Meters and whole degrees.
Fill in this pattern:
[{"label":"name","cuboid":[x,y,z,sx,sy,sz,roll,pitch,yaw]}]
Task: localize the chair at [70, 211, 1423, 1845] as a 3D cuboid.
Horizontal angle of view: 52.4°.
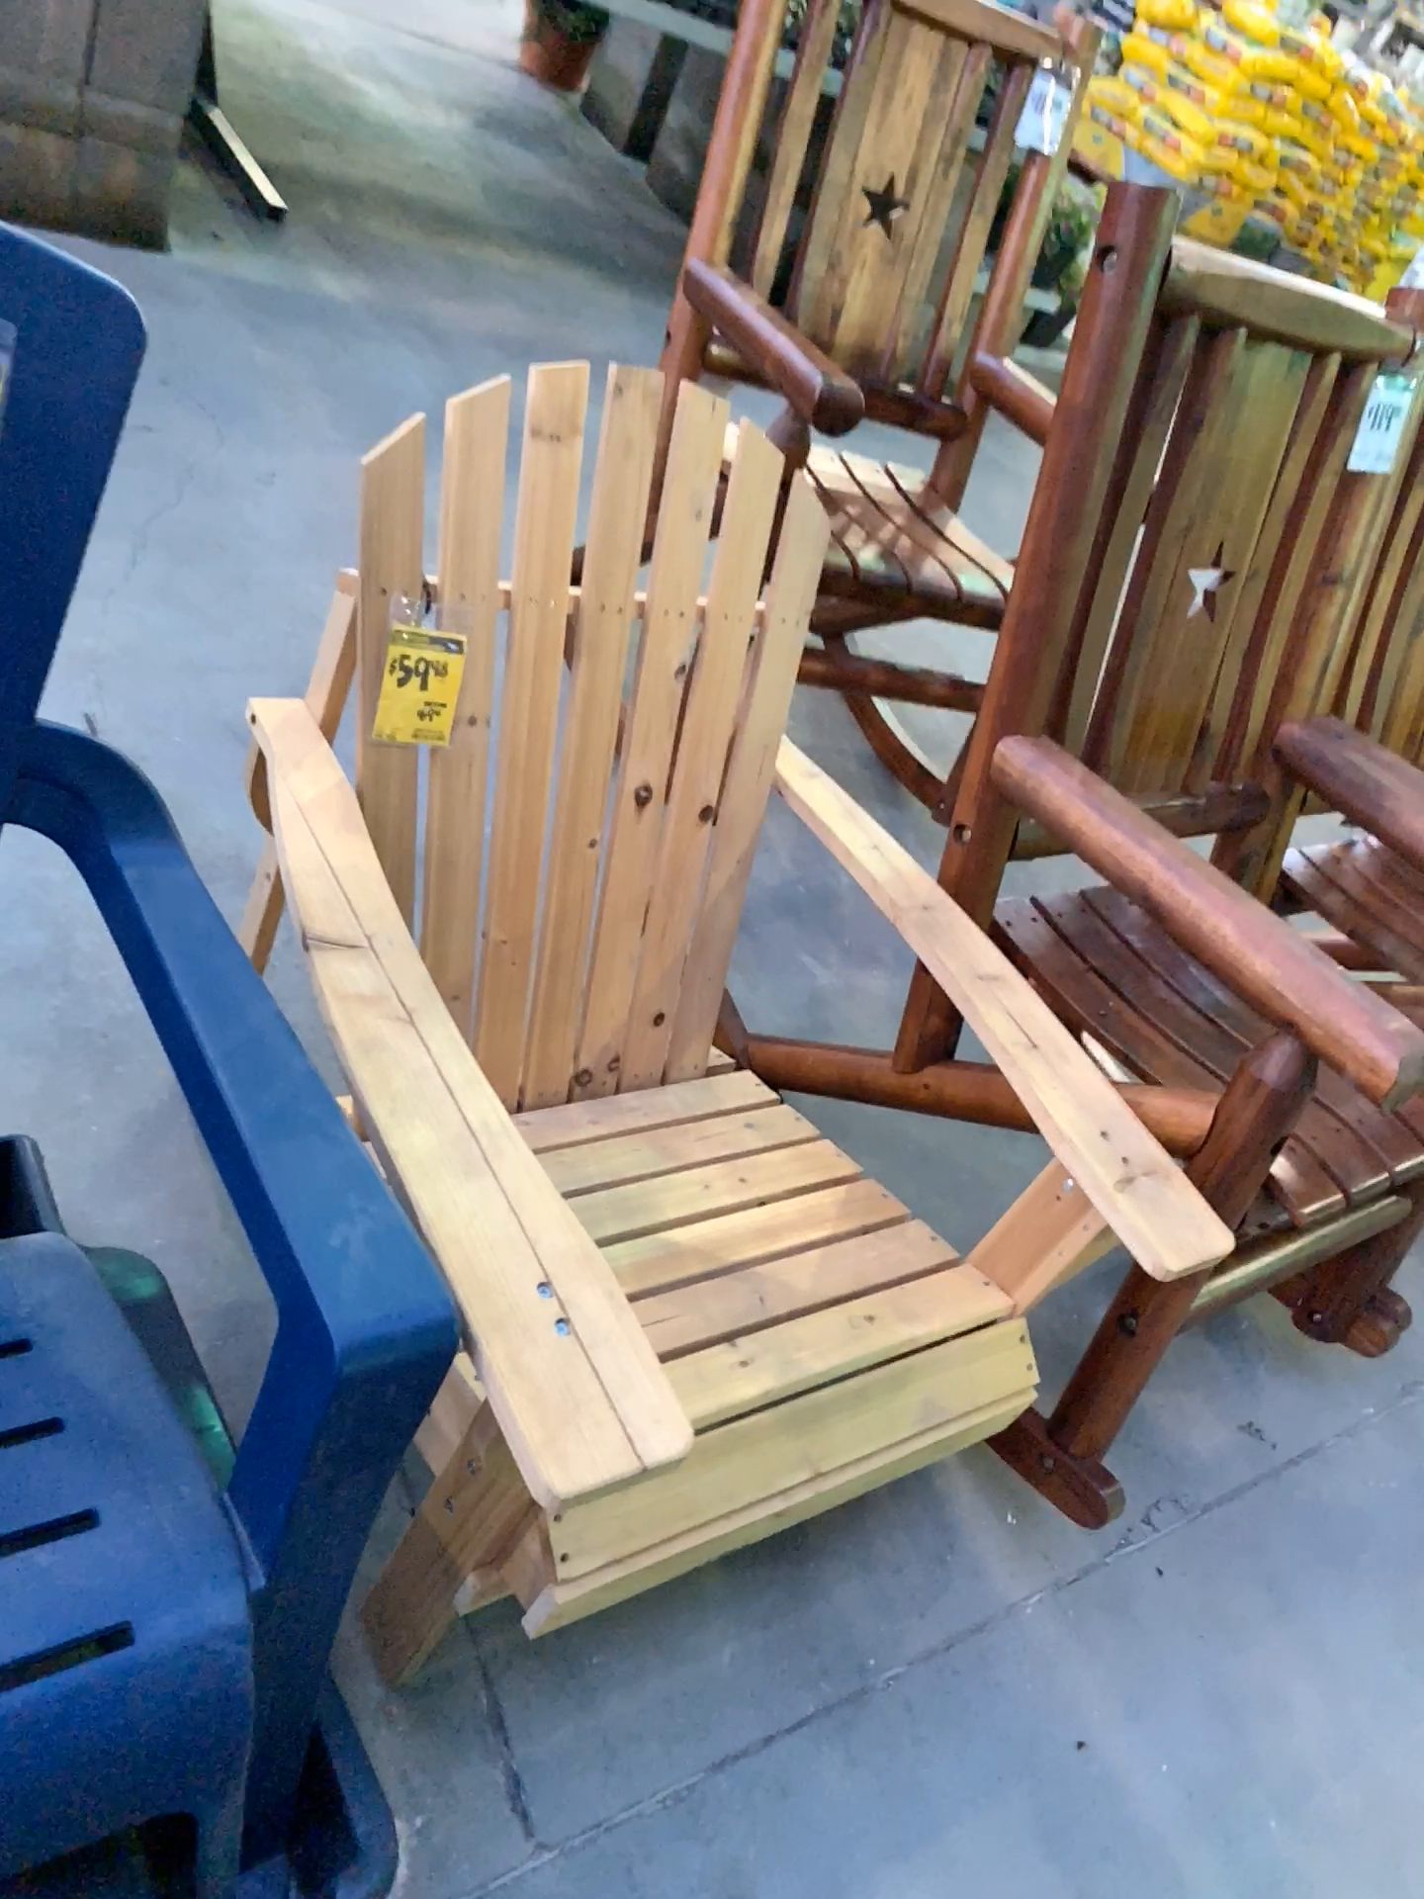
[{"label":"chair","cuboid":[-0.032,0.053,1.332,0.730,0.886,0.893,-7,51,-38]}]
